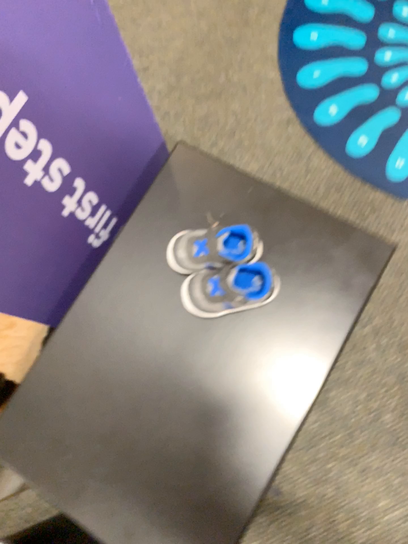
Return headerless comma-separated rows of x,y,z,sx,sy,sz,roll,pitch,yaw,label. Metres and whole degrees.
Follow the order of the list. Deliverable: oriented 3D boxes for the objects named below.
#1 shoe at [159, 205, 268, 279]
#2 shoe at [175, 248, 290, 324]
0.015,-0.040,0.595,0.140,0.060,0.070,-7,74,6,shoe
0.039,0.021,0.579,0.140,0.060,0.070,-10,74,6,shoe
